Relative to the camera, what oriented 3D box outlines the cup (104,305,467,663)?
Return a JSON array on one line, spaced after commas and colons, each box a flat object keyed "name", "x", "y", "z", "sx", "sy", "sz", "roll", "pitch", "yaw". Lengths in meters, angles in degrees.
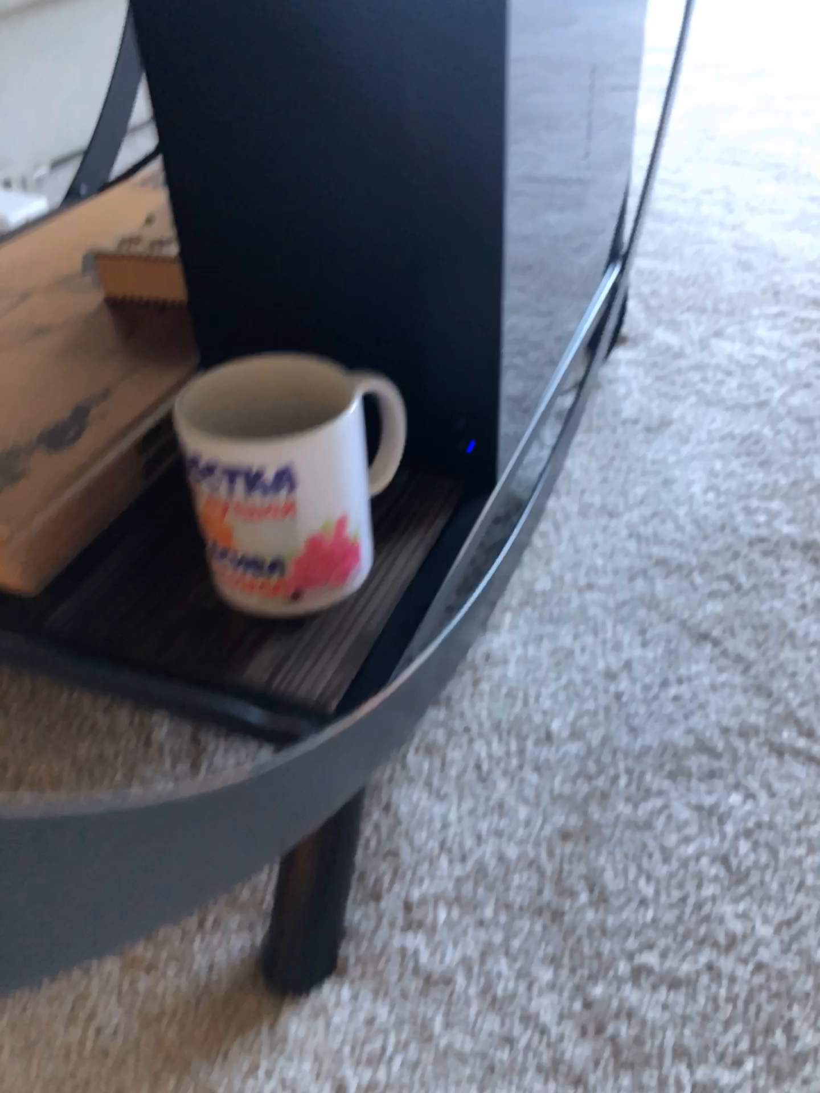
[{"name": "cup", "x": -0.053, "y": -0.037, "z": 0.451, "sx": 0.090, "sy": 0.100, "sz": 0.140, "roll": 30, "pitch": 48, "yaw": 34}]
